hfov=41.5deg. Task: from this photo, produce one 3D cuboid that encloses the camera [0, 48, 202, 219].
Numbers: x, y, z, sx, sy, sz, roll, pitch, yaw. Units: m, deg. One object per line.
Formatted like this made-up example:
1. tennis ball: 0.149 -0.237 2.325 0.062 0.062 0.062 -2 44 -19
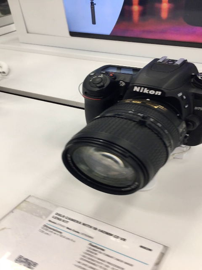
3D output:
1. camera: 0.029 -0.018 0.288 0.146 0.092 0.171 21 44 28
